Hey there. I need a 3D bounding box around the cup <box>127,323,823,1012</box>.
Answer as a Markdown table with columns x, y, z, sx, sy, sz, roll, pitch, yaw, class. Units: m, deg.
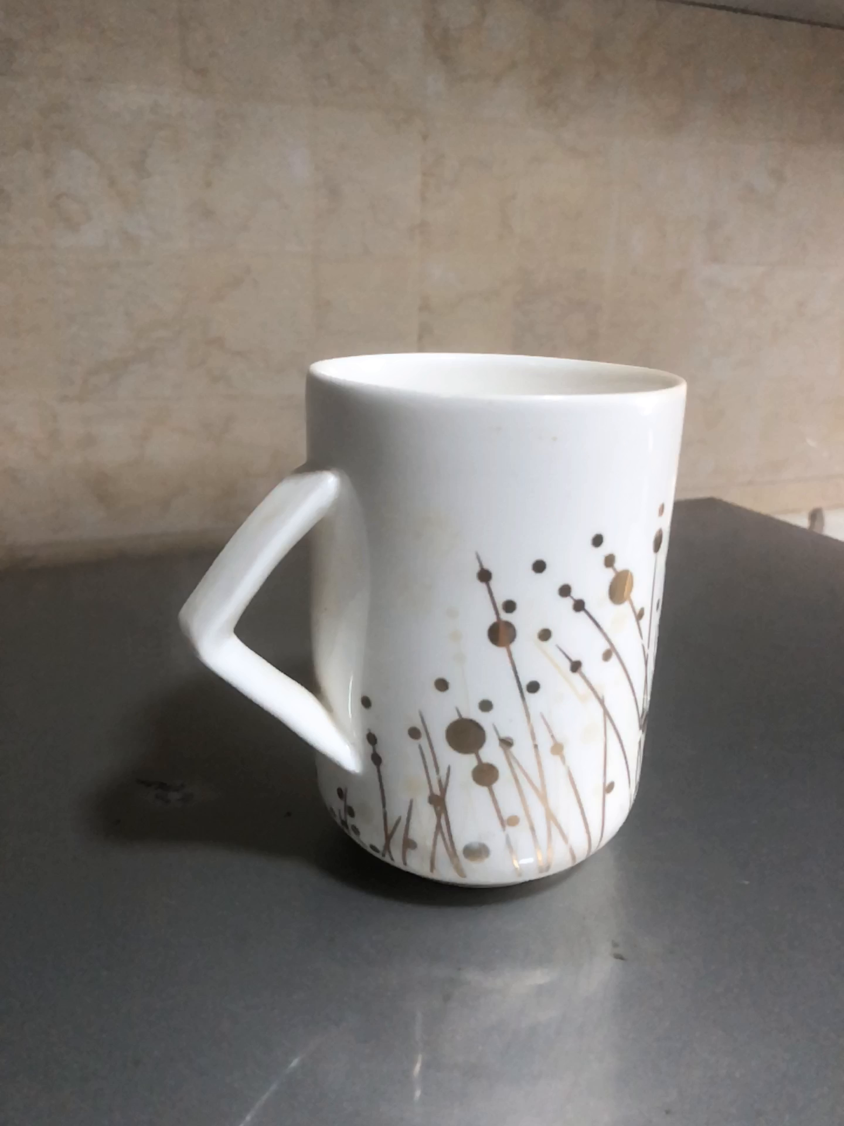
| x | y | z | sx | sy | sz | roll | pitch | yaw | class |
| --- | --- | --- | --- | --- | --- | --- | --- | --- | --- |
| 0.010 | 0.004 | 0.198 | 0.110 | 0.100 | 0.080 | -12 | 21 | -36 | cup |
